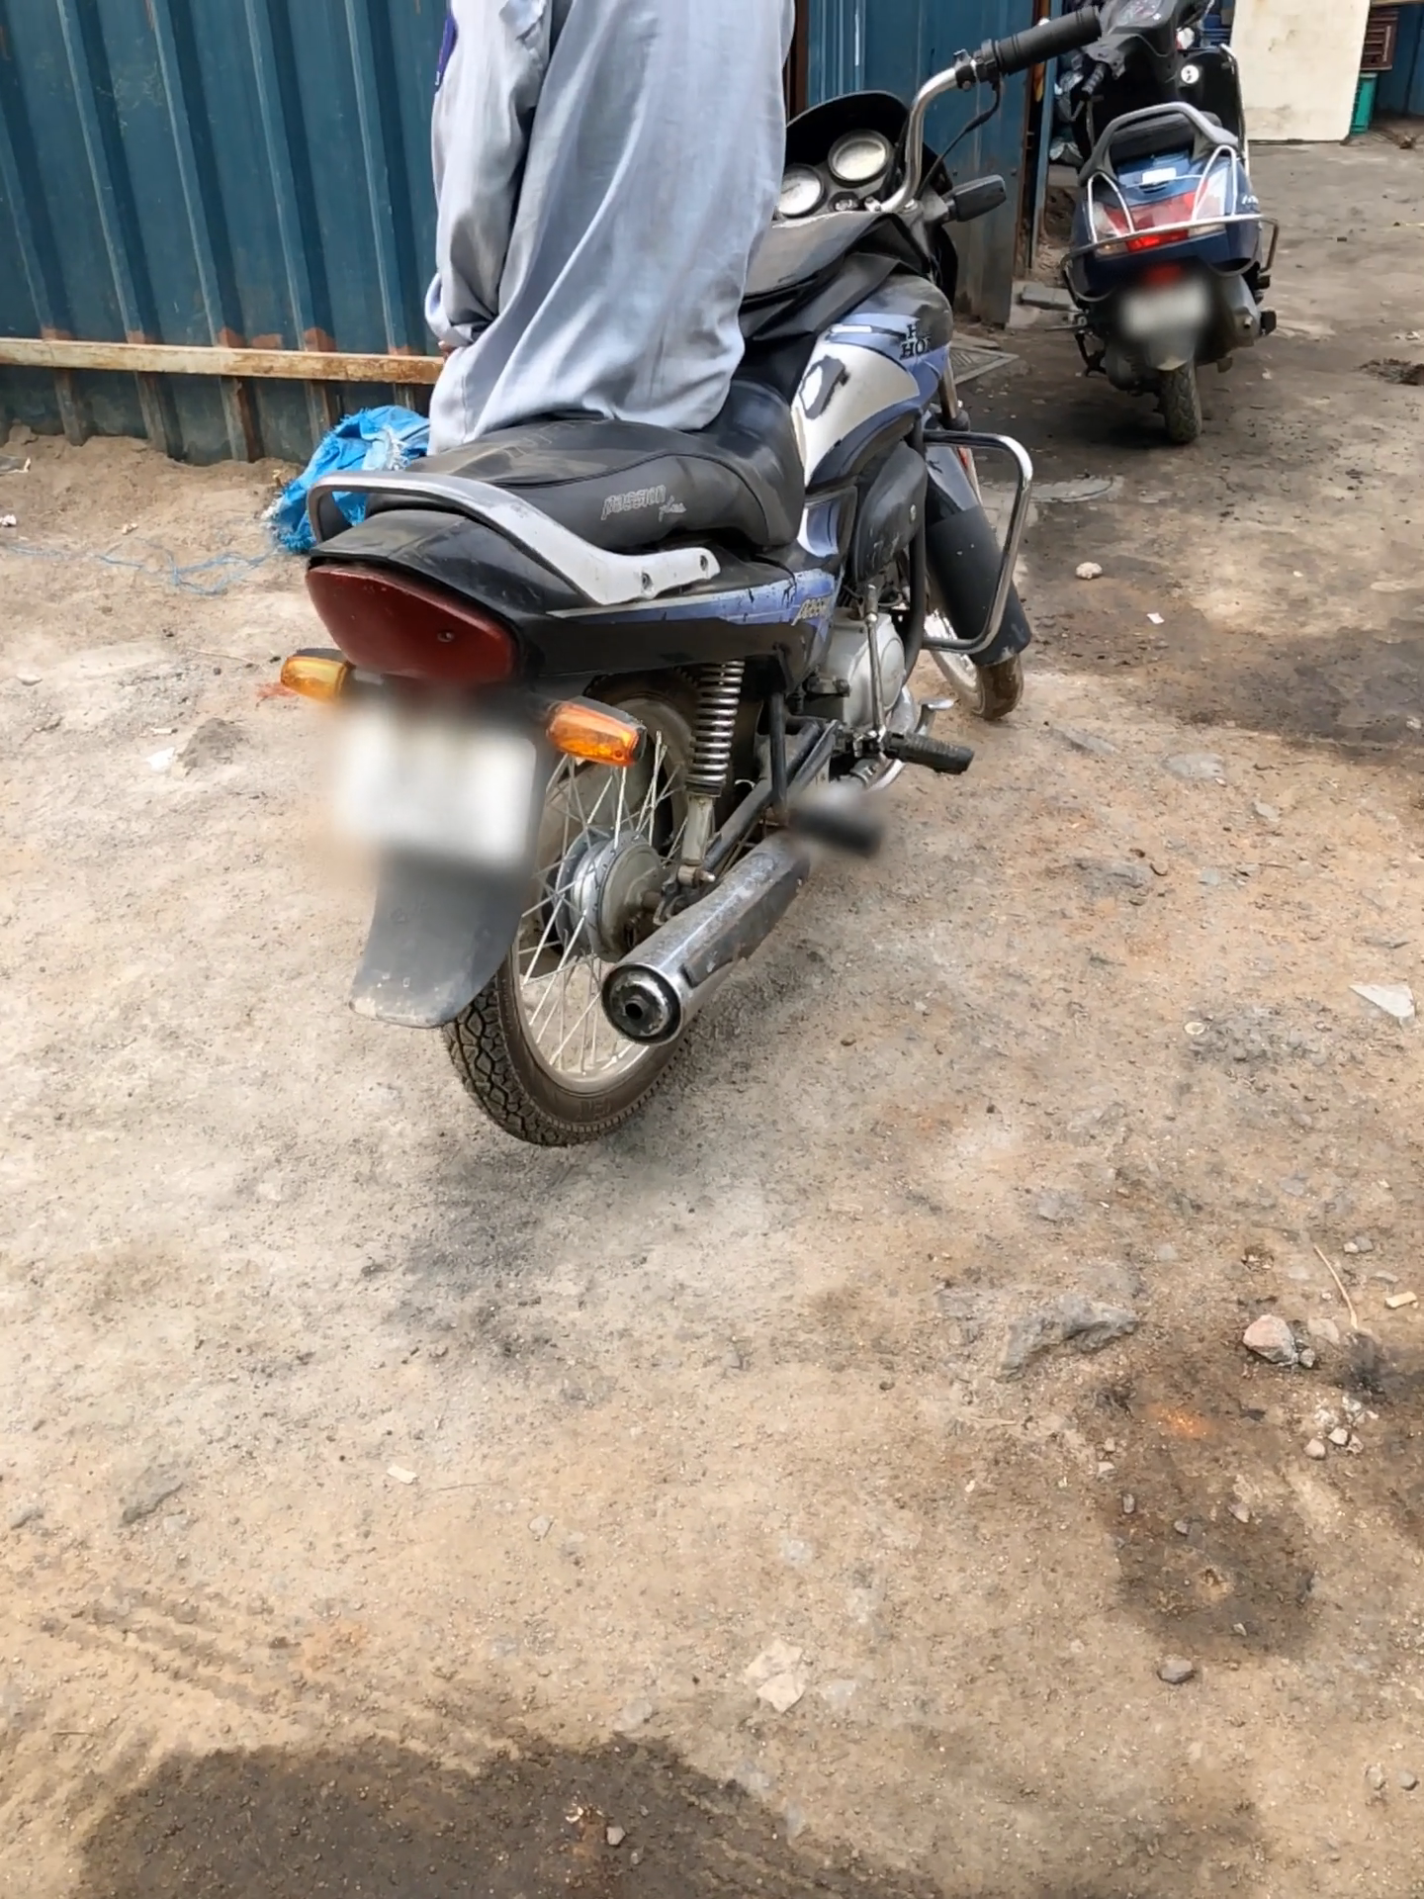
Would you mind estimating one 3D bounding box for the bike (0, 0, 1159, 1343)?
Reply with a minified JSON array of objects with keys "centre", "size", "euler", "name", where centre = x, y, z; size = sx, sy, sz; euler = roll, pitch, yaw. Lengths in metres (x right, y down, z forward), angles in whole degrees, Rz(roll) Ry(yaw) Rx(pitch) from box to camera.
[{"centre":[0.033,-0.649,2.189],"size":[0.783,1.154,1.812],"euler":[11,37,18],"name":"bike"}]
